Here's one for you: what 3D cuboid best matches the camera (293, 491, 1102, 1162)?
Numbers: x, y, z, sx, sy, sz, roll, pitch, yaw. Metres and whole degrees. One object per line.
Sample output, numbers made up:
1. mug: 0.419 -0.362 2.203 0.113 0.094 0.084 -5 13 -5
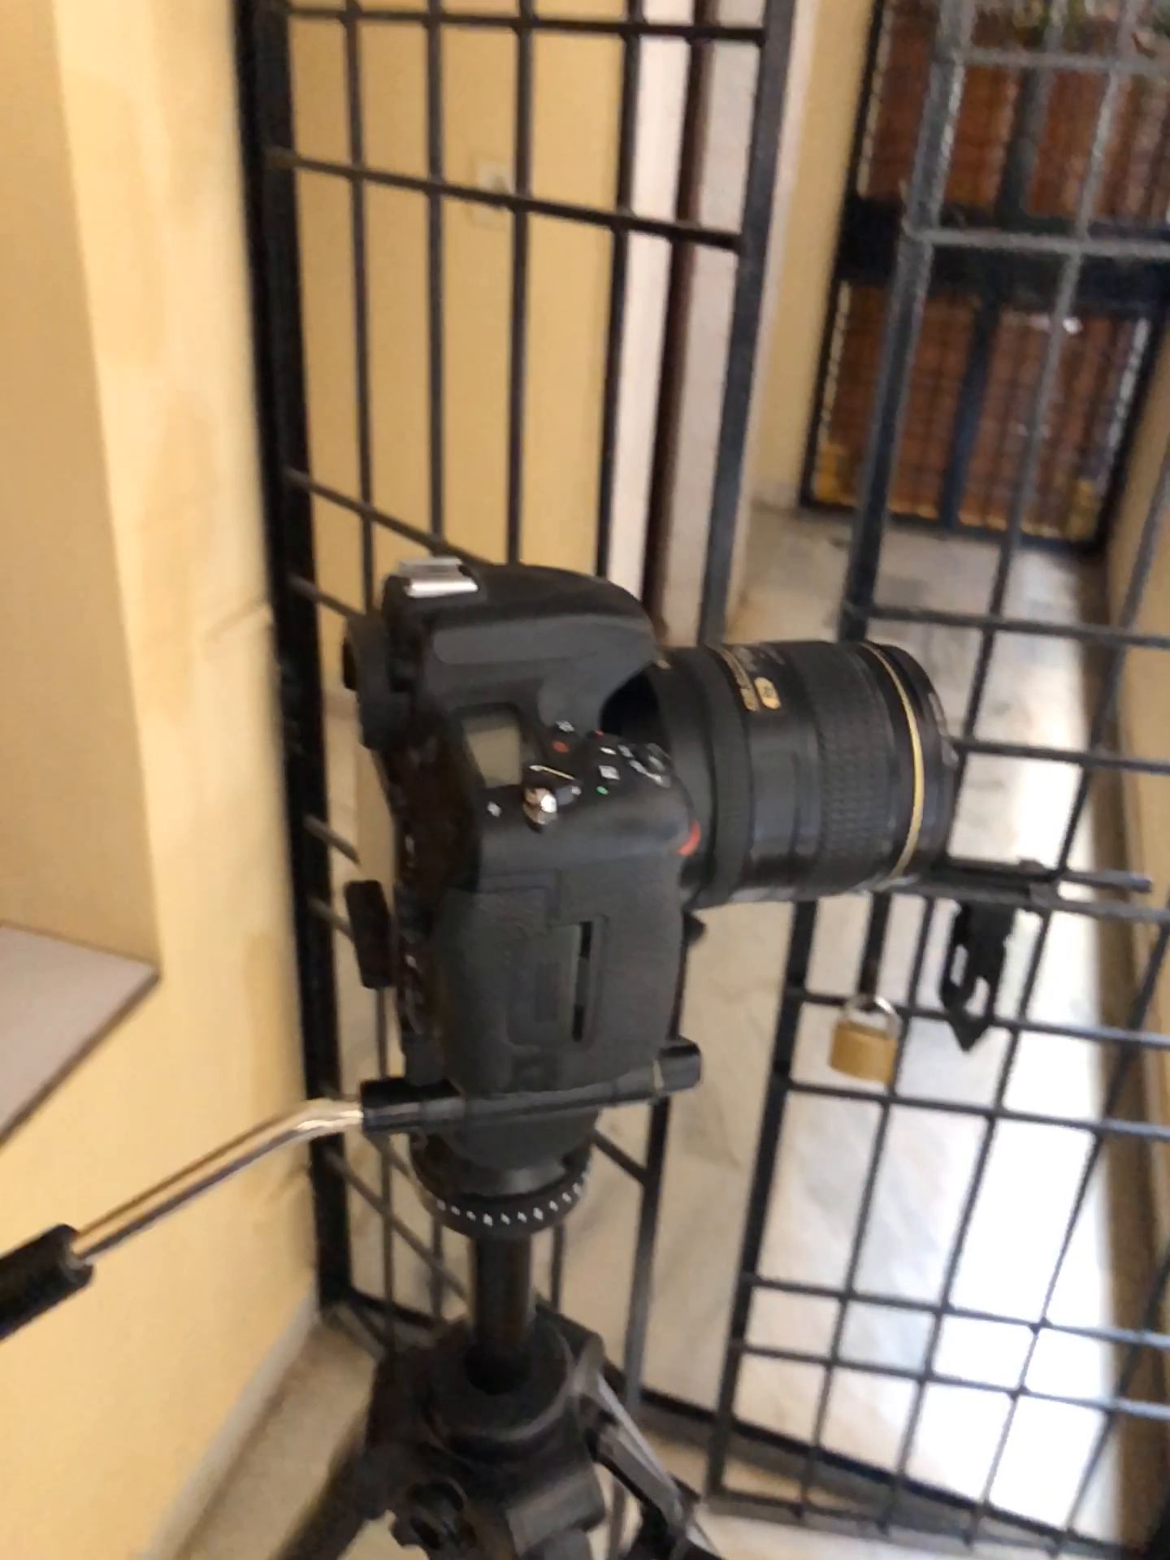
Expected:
1. camera: 0.013 -0.004 0.376 0.171 0.105 0.171 -5 30 -15
